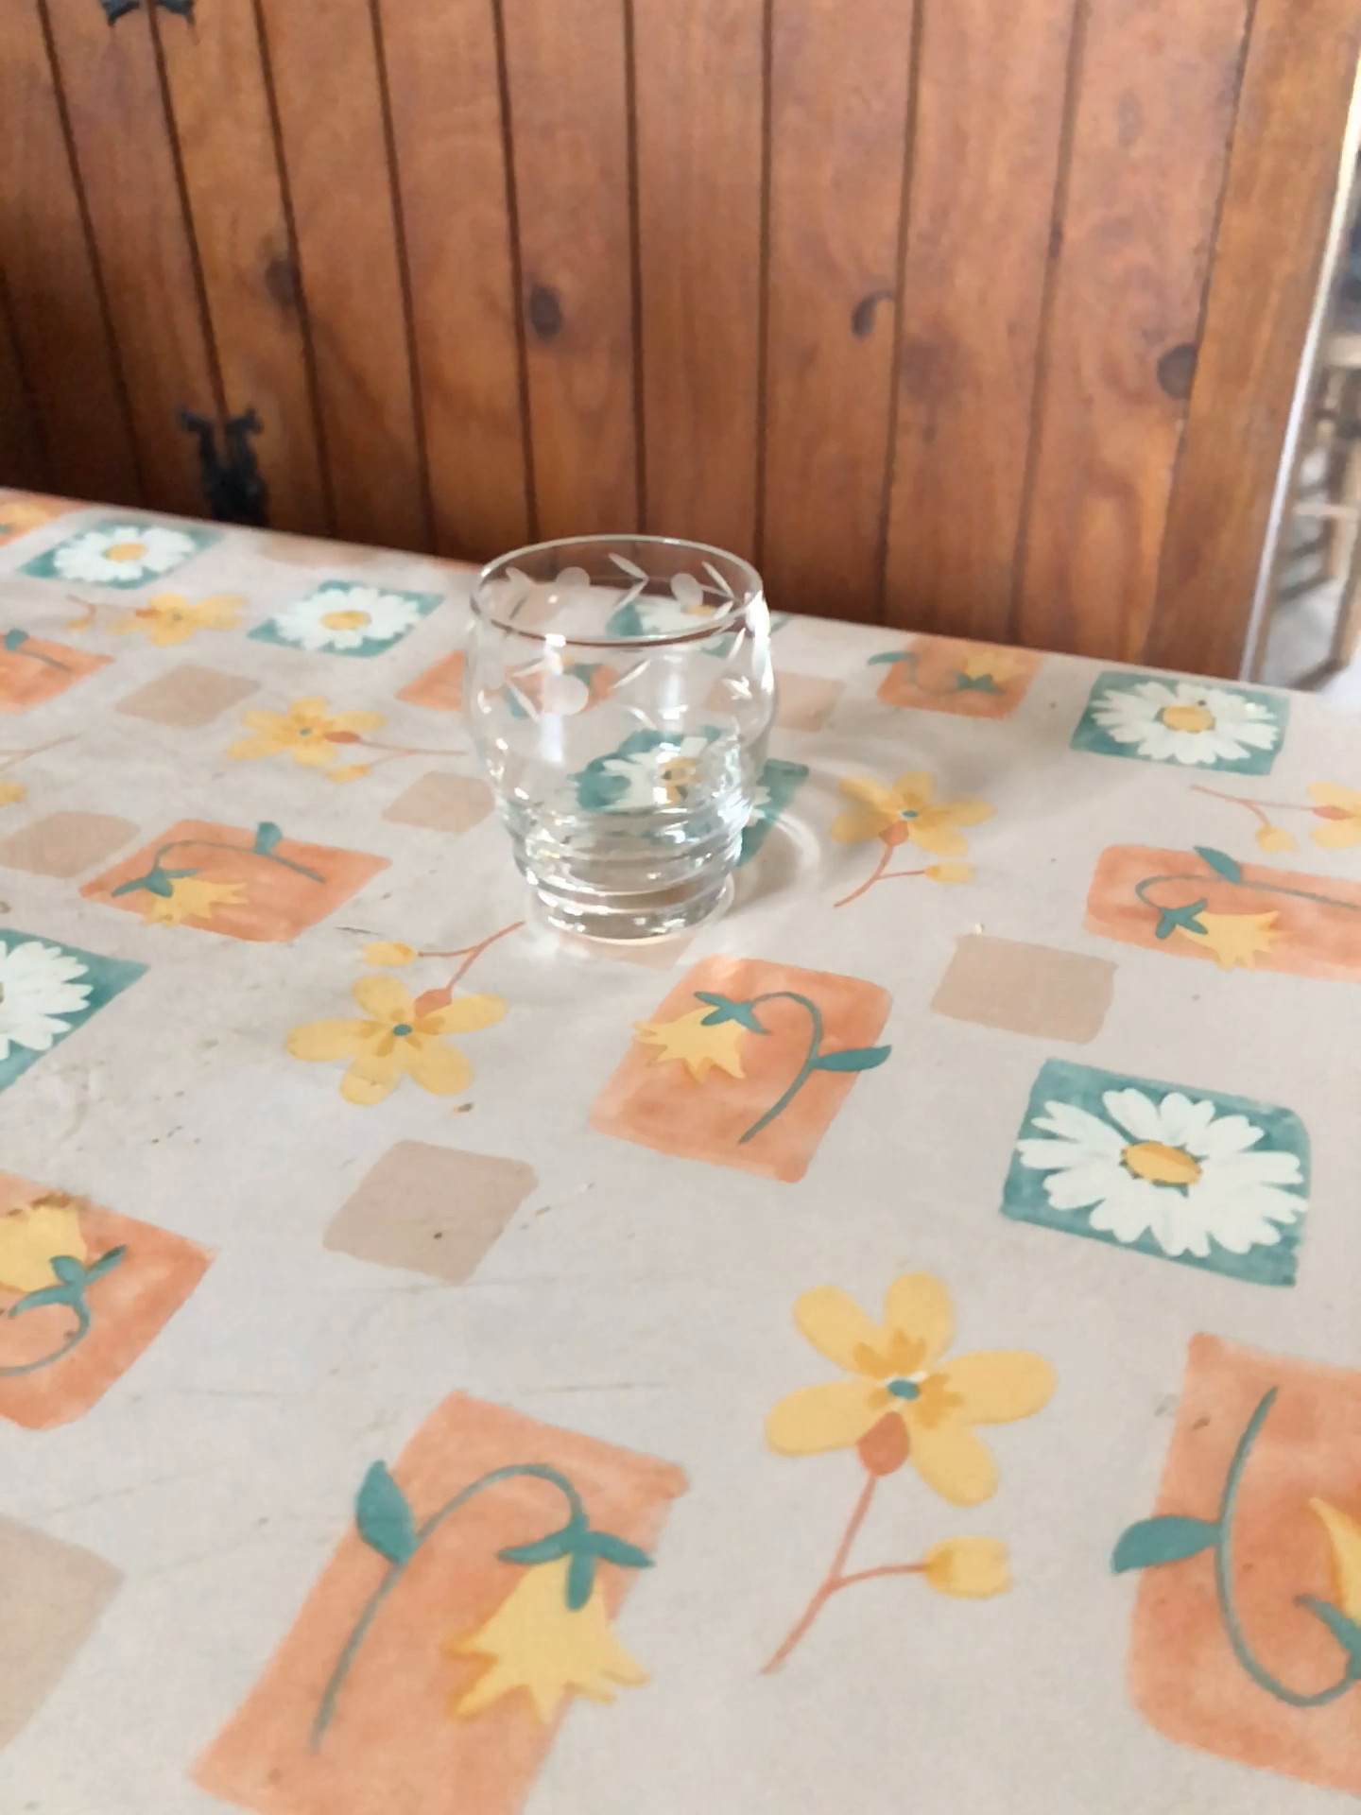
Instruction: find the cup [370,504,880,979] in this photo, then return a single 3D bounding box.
[{"bbox_3d":[-0.007,-0.032,0.258,0.060,0.050,0.060,0,31,0],"label":"cup"}]
